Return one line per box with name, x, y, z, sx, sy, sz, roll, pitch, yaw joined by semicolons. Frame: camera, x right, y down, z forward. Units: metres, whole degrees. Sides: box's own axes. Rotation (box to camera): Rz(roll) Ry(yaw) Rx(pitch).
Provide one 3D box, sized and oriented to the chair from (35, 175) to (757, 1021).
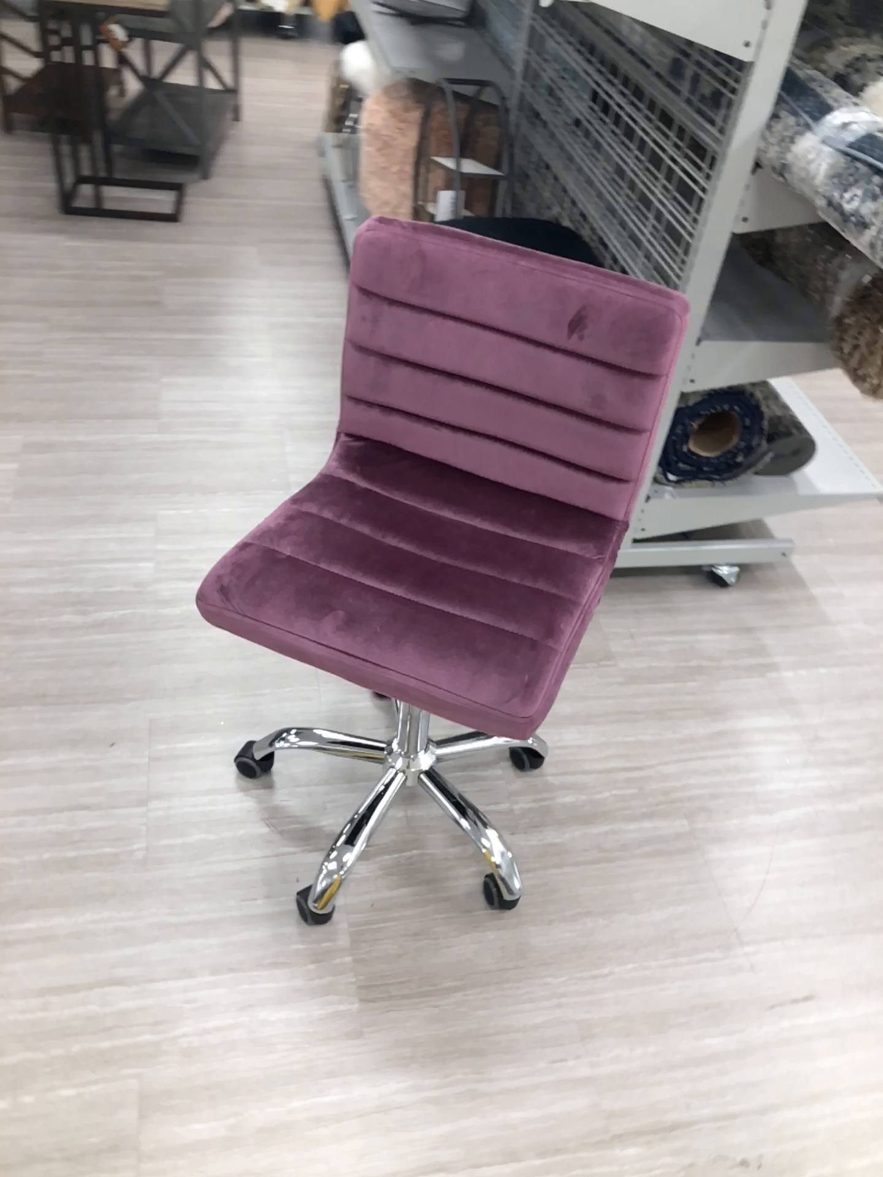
chair;-0.036;0.011;1.285;0.587;0.800;0.580;19;42;11
